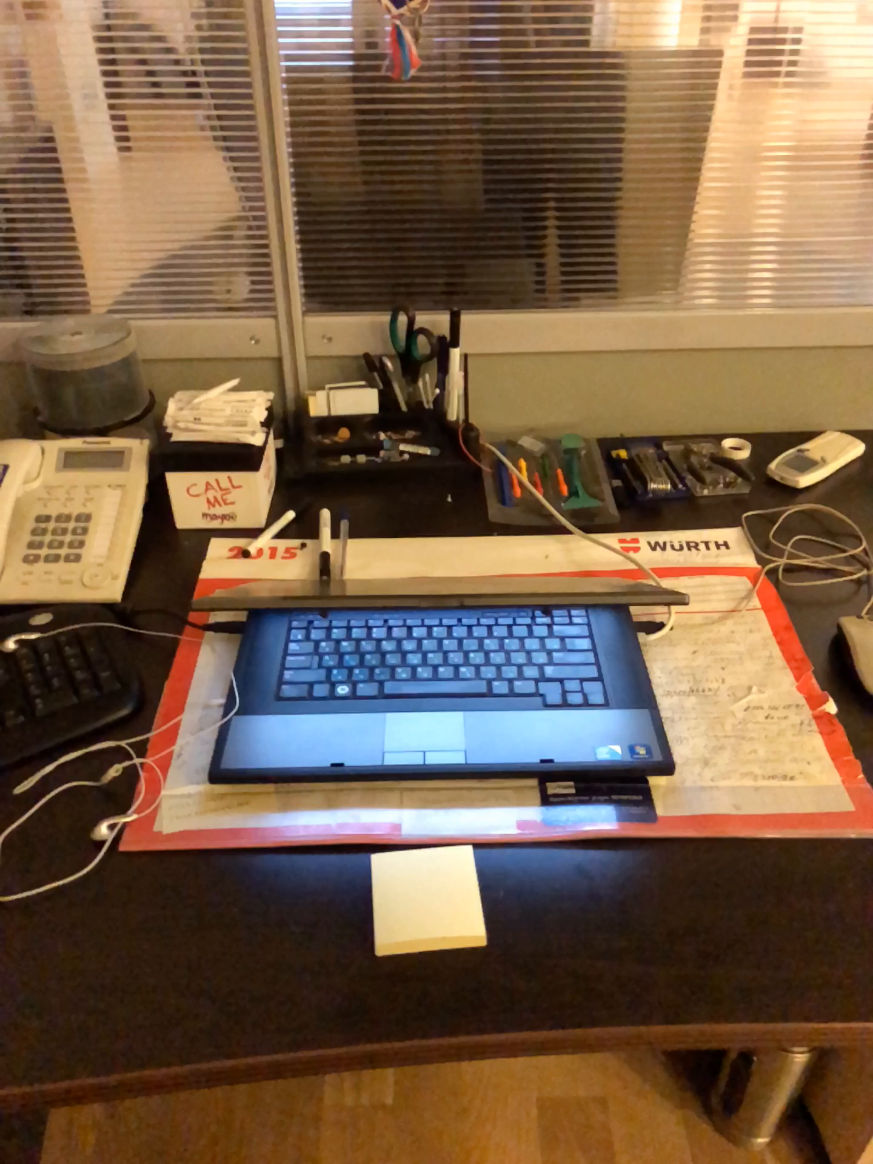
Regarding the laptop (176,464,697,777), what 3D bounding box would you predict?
[{"bbox_3d":[0.000,0.022,0.797,0.357,0.141,0.240,0,35,-1],"label":"laptop"}]
